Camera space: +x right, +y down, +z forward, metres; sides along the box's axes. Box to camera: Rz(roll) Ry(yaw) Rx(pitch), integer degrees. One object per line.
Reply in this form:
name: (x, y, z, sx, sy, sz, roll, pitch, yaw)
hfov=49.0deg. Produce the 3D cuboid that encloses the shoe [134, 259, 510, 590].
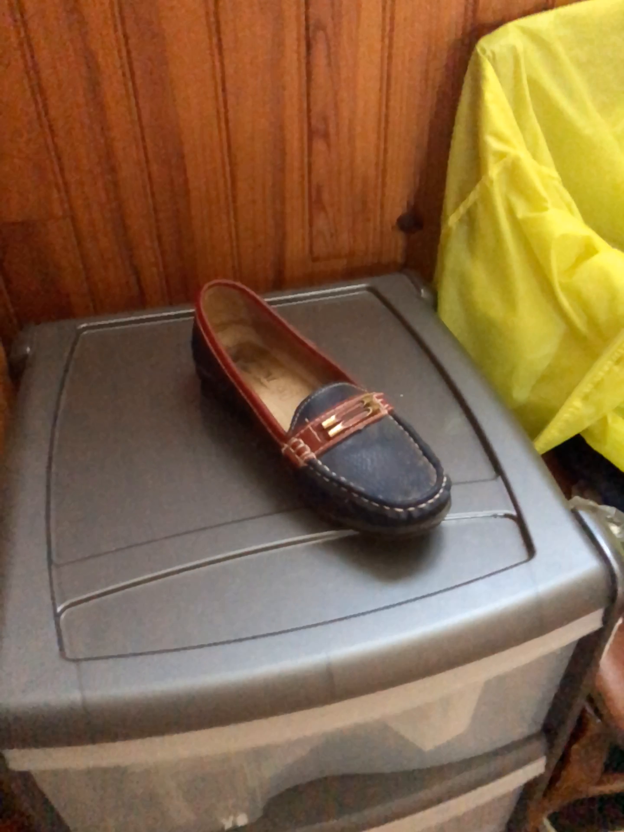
shoe: (-0.008, -0.014, 0.464, 0.100, 0.070, 0.260, -28, 46, -28)
